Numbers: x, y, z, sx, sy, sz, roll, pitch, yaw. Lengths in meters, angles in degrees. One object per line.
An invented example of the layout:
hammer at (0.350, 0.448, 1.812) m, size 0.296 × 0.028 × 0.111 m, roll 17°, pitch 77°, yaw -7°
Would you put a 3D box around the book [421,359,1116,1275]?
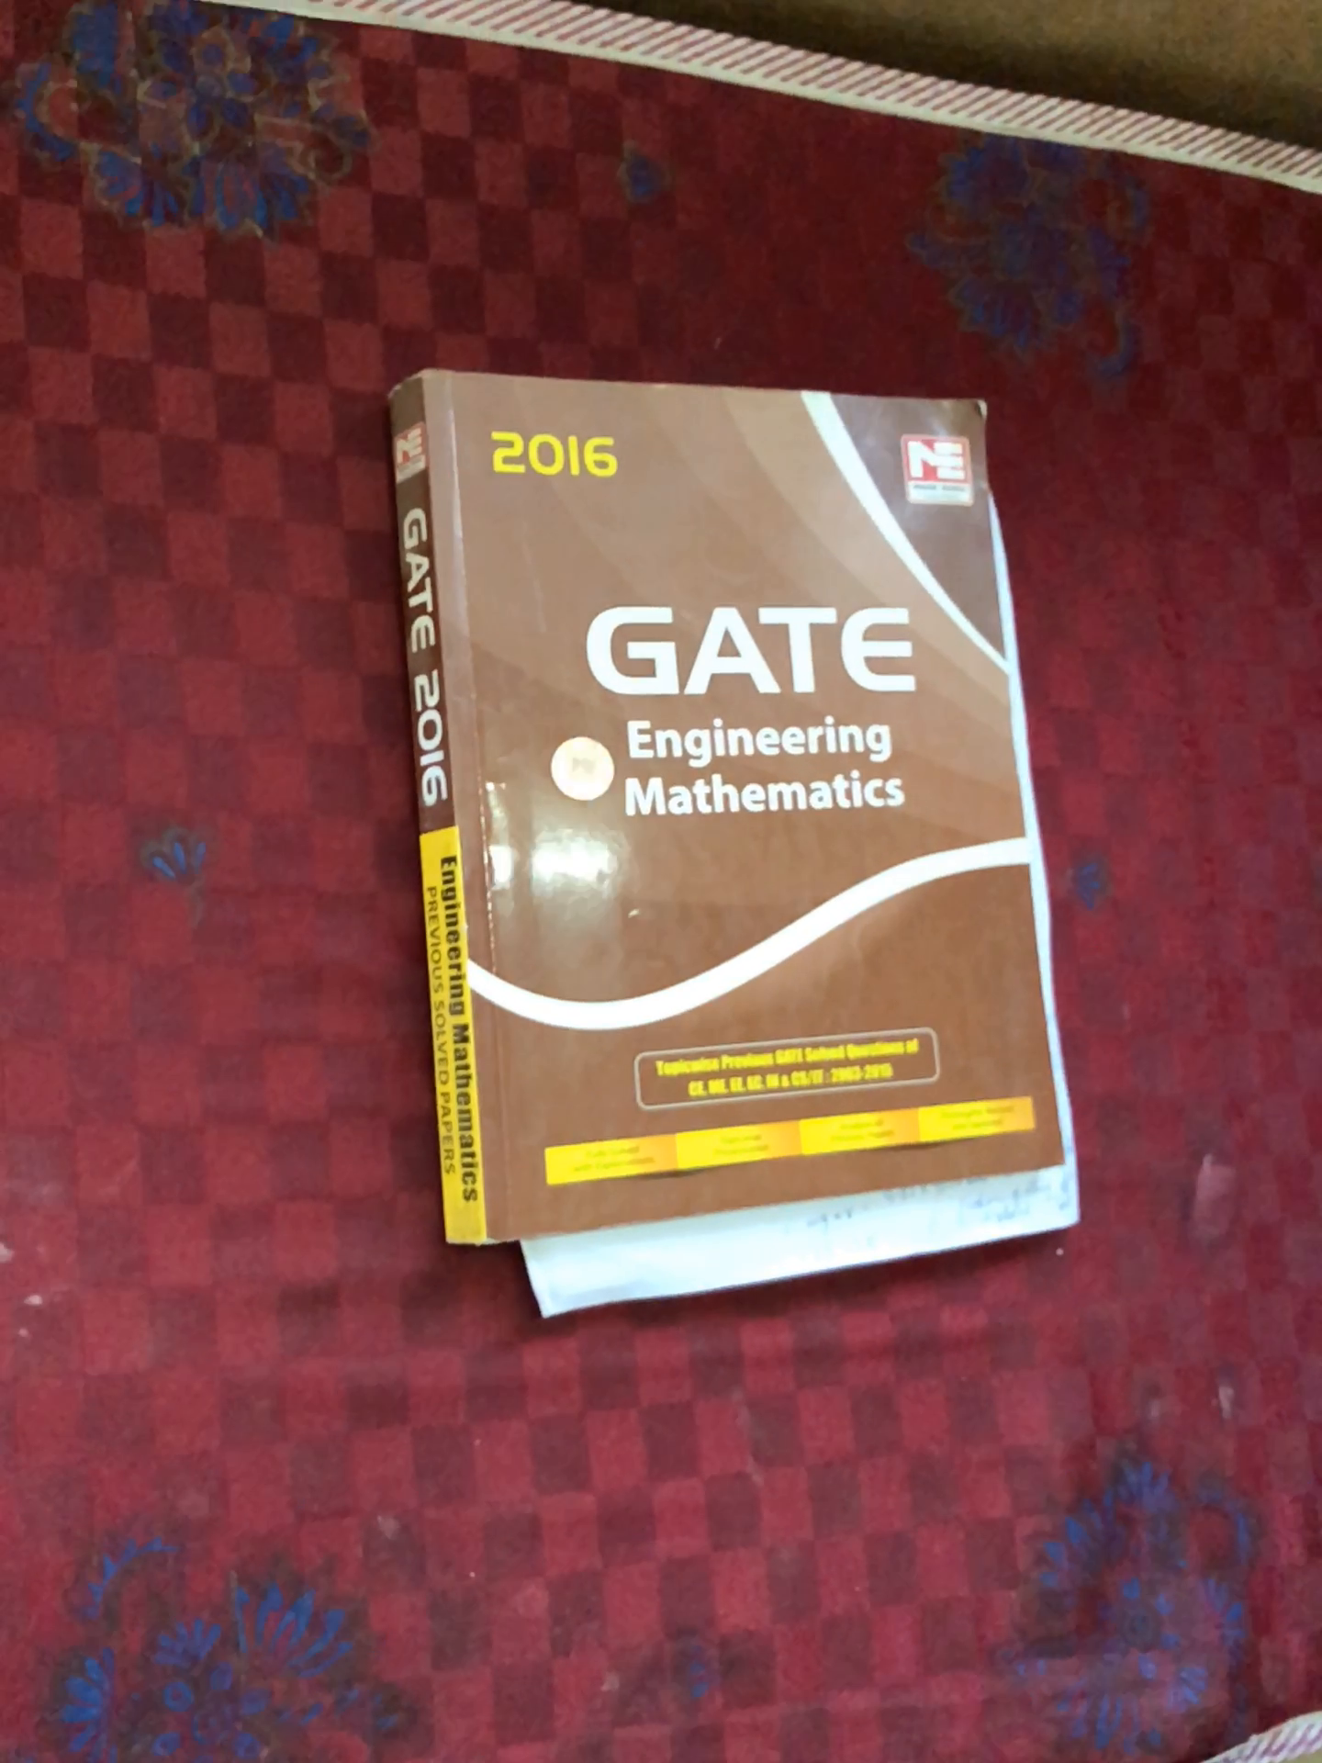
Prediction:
book at (0.037, -0.029, 0.527) m, size 0.220 × 0.040 × 0.300 m, roll -3°, pitch 82°, yaw -18°
